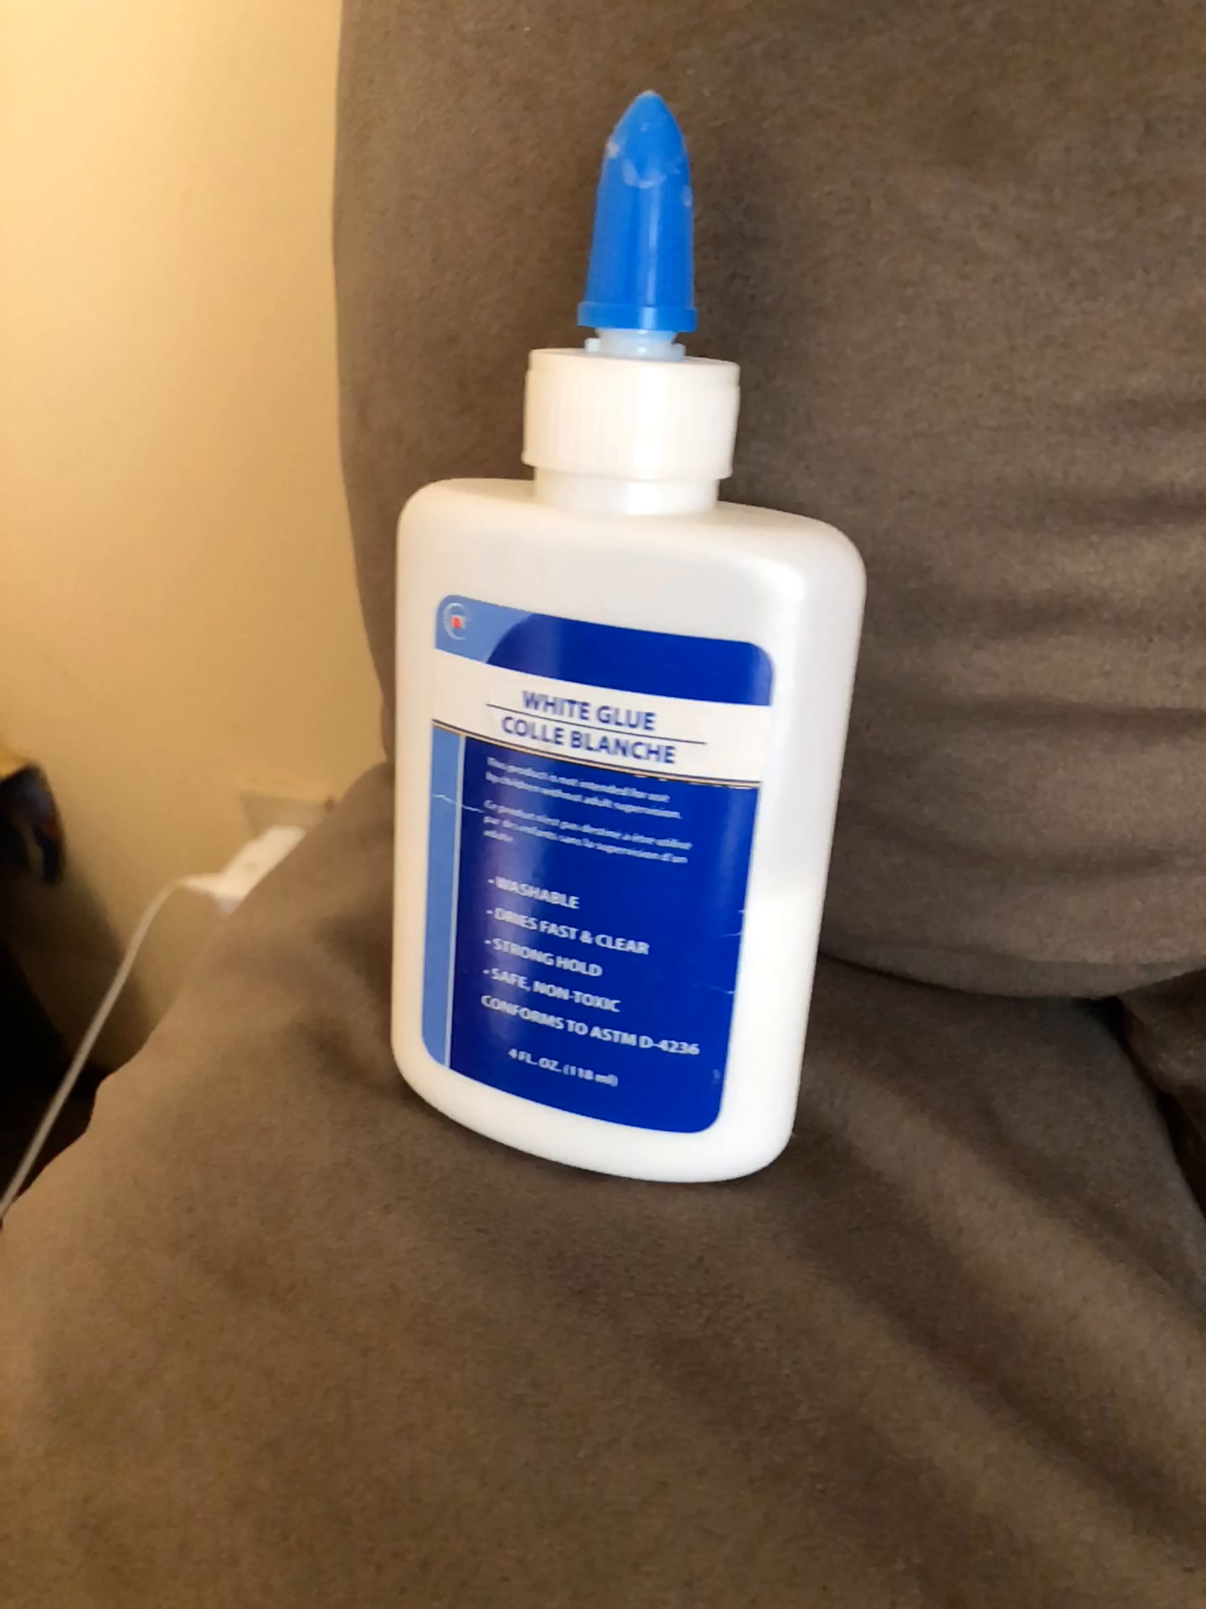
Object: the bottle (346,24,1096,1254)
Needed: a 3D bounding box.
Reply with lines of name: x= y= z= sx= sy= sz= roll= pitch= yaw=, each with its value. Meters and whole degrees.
bottle: x=0.010 y=-0.020 z=0.171 sx=0.070 sy=0.130 sz=0.040 roll=13 pitch=21 yaw=20
